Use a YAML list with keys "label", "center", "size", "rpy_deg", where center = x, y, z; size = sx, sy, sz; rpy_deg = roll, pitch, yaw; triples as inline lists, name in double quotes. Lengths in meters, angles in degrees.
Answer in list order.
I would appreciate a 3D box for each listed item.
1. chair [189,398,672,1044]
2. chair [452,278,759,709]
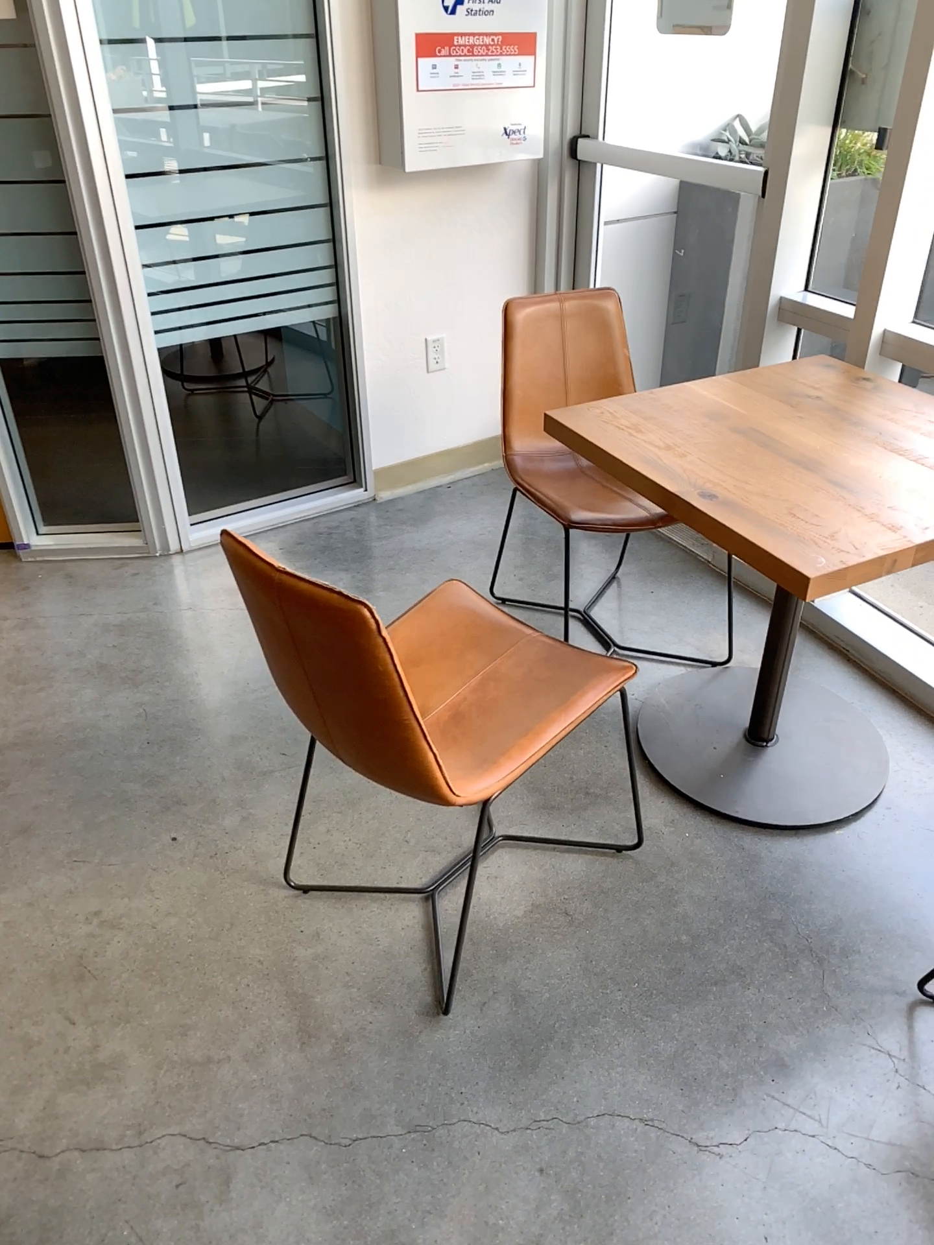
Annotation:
- label: "chair"
  center: [-0.027, 0.159, 1.682]
  size: [0.492, 0.864, 0.542]
  rpy_deg: [27, 46, 35]
- label: "chair"
  center: [0.309, -0.345, 2.390]
  size: [0.490, 0.865, 0.553]
  rpy_deg: [-13, 31, -18]
